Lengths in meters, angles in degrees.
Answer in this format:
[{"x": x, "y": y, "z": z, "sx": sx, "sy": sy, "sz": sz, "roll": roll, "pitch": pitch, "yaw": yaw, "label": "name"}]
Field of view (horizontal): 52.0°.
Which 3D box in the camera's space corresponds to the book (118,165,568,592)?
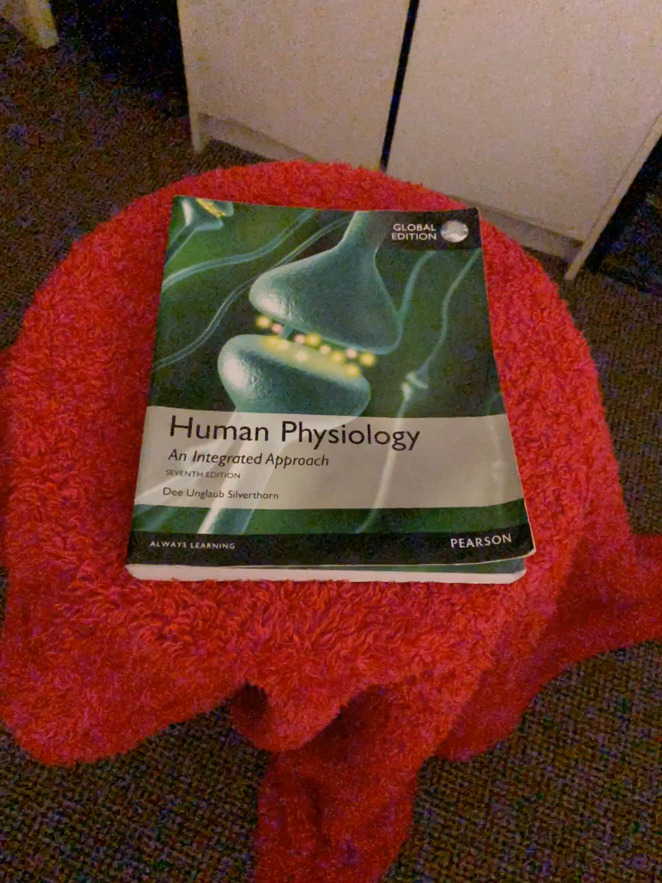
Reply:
[{"x": 0.005, "y": -0.054, "z": 0.477, "sx": 0.250, "sy": 0.070, "sz": 0.302, "roll": 2, "pitch": 62, "yaw": -5, "label": "book"}]
